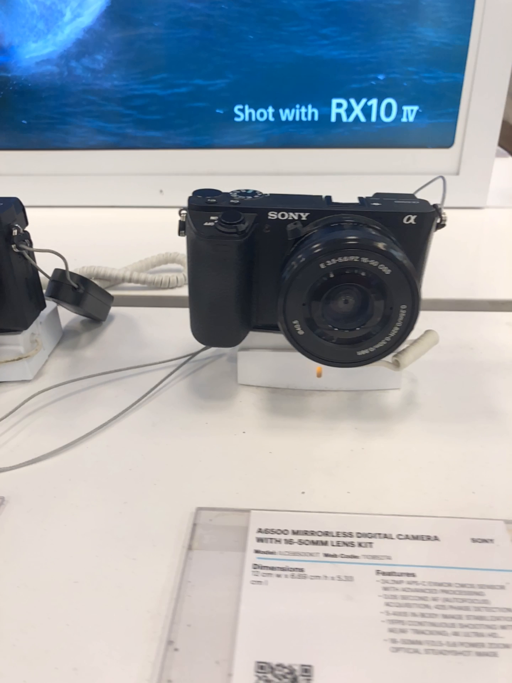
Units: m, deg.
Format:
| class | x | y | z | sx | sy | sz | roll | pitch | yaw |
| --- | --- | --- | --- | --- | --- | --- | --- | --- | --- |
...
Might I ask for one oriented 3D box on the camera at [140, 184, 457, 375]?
| class | x | y | z | sx | sy | sz | roll | pitch | yaw |
| --- | --- | --- | --- | --- | --- | --- | --- | --- | --- |
| camera | 0.019 | -0.034 | 0.283 | 0.130 | 0.070 | 0.070 | 1 | 29 | 5 |
